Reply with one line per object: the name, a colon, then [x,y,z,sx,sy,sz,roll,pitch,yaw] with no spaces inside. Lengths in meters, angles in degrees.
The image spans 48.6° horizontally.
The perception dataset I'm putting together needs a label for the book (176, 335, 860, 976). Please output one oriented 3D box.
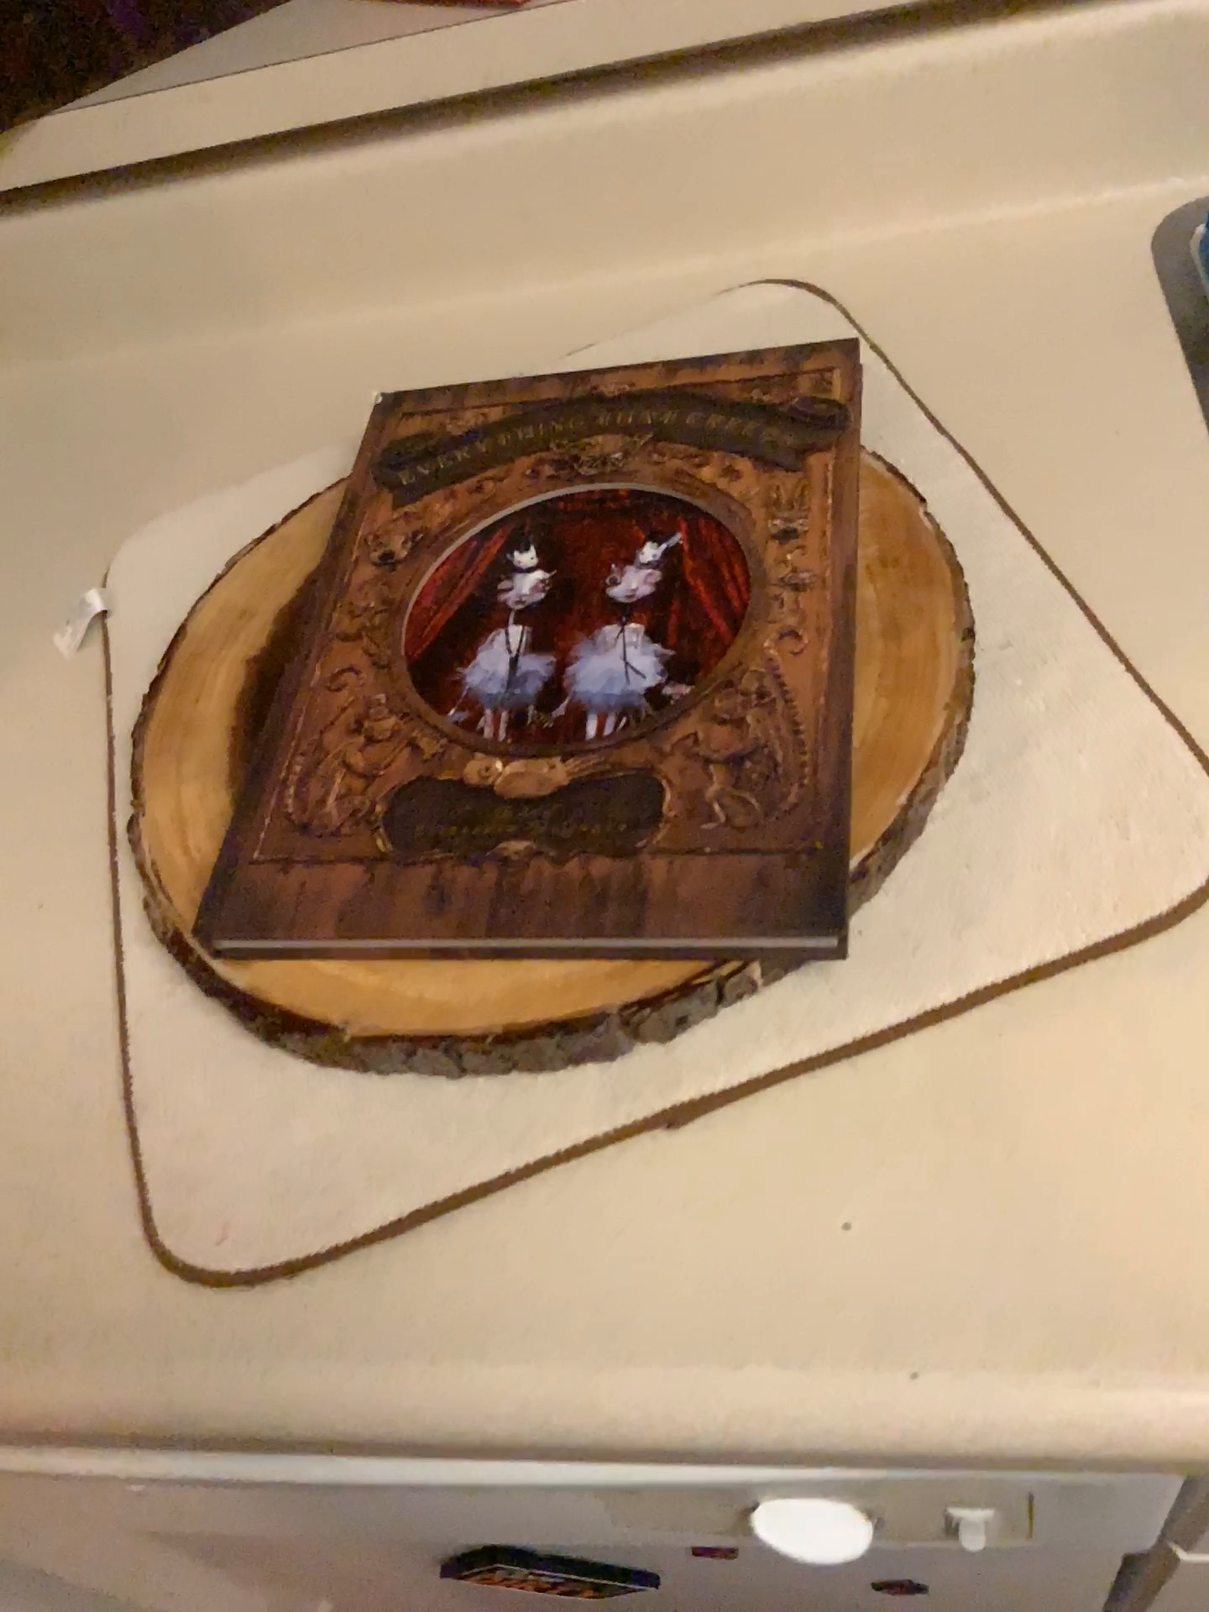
book: [-0.017,-0.073,0.535,0.230,0.020,0.310,-2,53,14]
